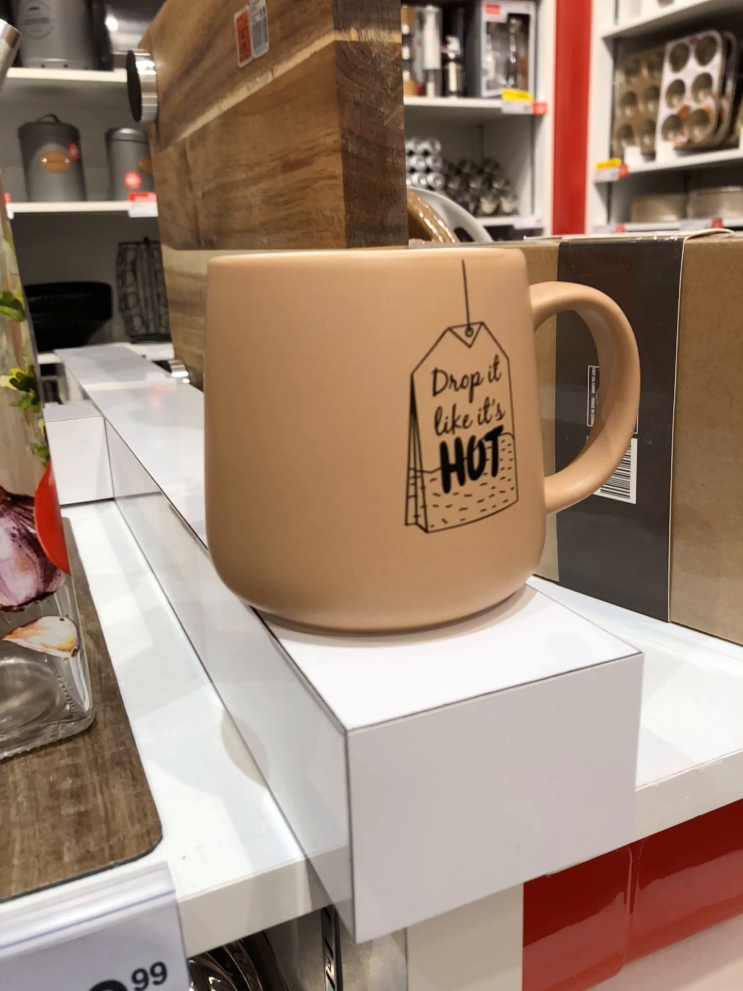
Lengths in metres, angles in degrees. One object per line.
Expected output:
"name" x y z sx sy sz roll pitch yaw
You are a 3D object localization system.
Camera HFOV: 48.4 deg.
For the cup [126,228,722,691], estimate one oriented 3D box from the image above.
"cup" 0.014 -0.023 0.208 0.110 0.080 0.090 -15 21 -37
